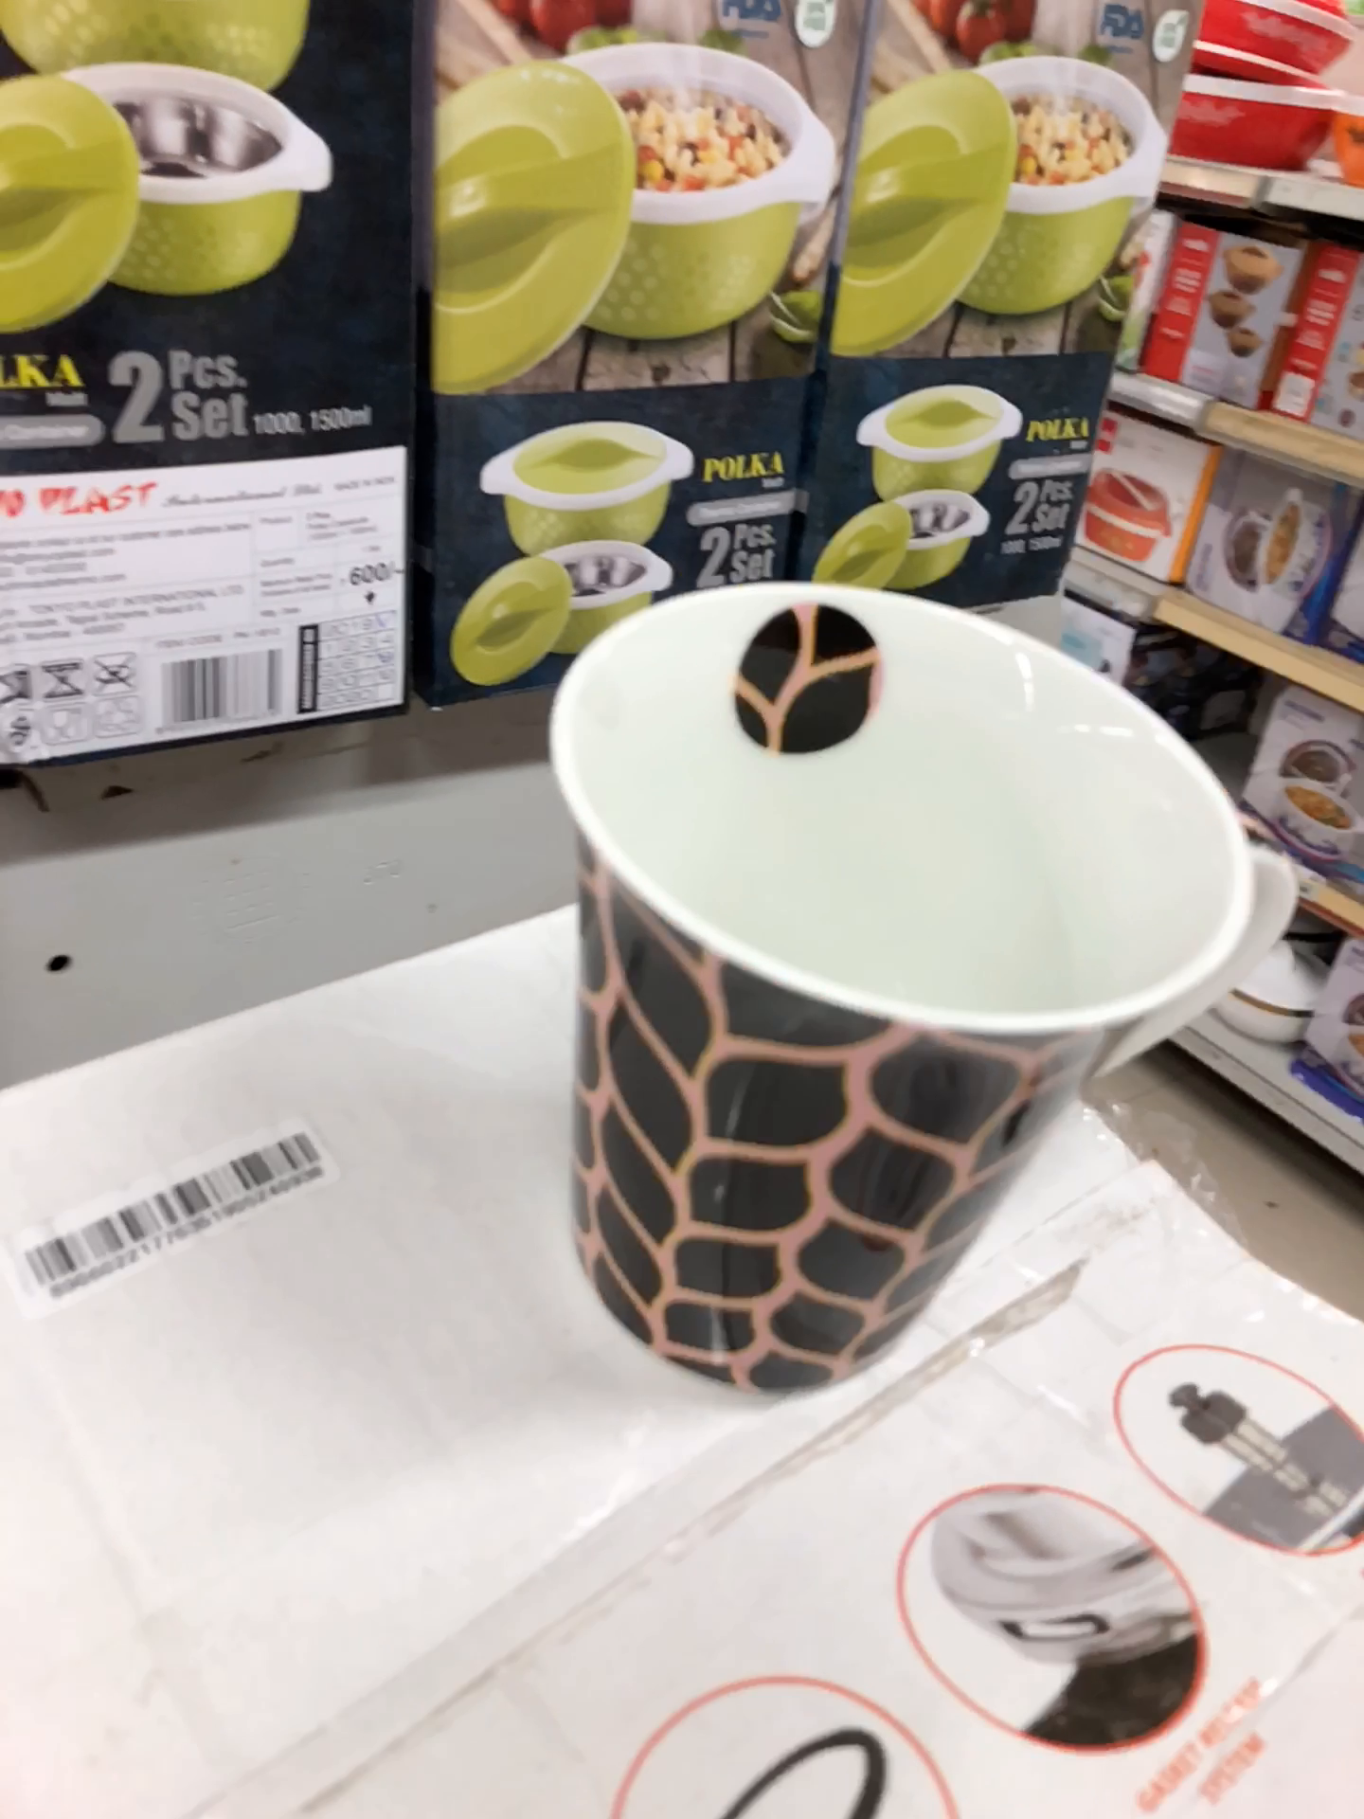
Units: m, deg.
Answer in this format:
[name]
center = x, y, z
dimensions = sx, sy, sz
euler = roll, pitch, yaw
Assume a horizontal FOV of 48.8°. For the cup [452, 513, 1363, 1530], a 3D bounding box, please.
[cup]
center = 0.037, 0.005, 0.202
dimensions = 0.110, 0.079, 0.090
euler = -8, 41, -22
